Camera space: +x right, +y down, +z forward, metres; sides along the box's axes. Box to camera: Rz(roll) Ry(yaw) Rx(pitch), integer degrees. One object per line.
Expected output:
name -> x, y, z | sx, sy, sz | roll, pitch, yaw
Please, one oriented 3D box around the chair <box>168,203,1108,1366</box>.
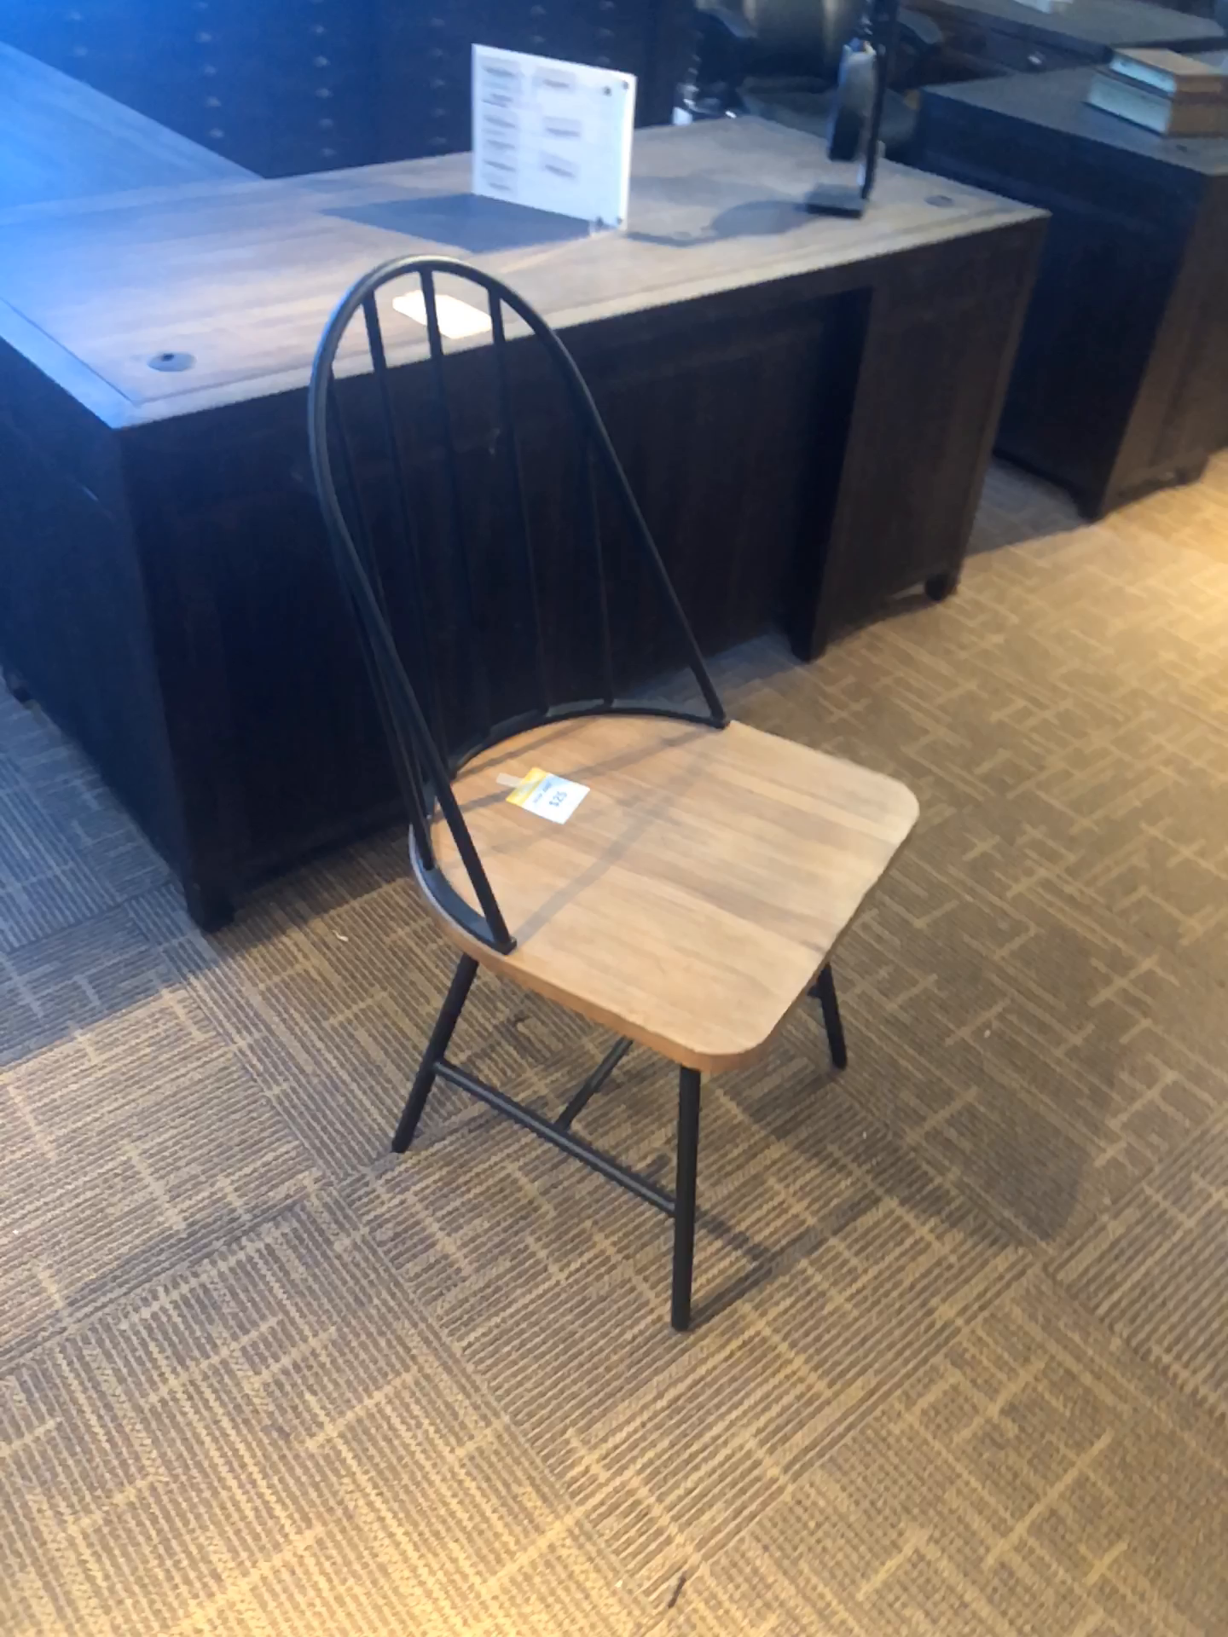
chair -> 0.011, -0.030, 1.403 | 0.599, 0.929, 0.516 | 23, 43, 20
